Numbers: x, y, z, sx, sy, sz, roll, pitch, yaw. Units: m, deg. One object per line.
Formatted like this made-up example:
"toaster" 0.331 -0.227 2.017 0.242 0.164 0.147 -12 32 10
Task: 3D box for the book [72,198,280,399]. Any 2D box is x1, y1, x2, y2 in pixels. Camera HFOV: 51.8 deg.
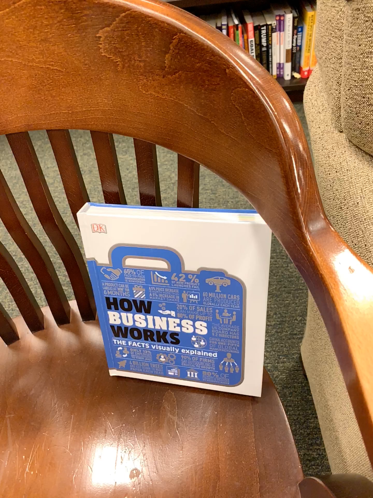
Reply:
"book" -0.008 0.066 0.457 0.211 0.246 0.039 4 31 11
